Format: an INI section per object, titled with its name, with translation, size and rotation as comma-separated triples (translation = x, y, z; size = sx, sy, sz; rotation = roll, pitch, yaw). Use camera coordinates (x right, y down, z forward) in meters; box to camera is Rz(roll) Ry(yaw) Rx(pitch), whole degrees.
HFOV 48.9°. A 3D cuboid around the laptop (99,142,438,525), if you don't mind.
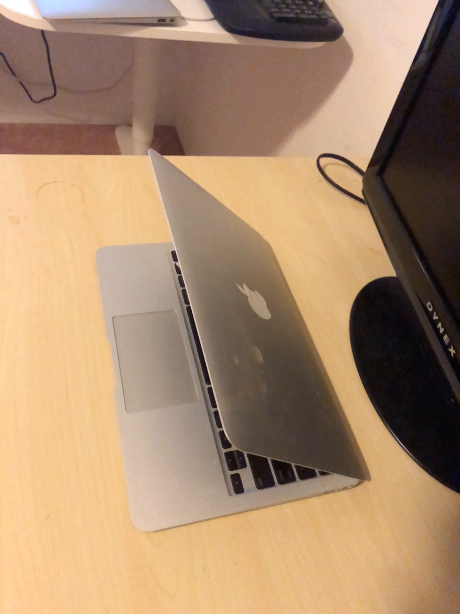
[laptop]
translation = 0.000, 0.000, 0.434
size = 0.189, 0.127, 0.288
rotation = -4, 51, -18
